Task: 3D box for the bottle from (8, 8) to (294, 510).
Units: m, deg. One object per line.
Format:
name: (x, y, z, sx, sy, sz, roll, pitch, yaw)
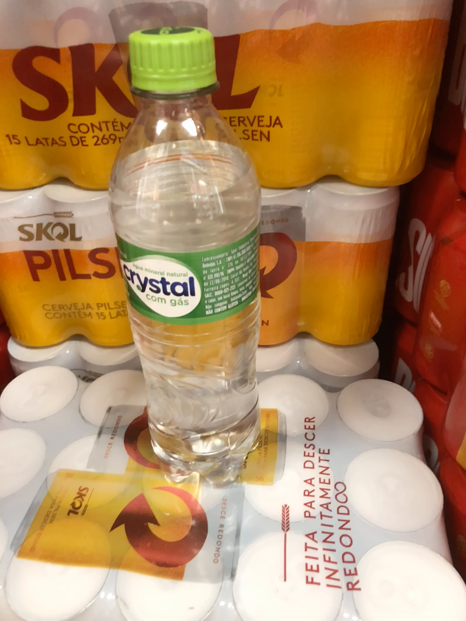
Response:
bottle: (-0.017, -0.006, 0.233, 0.070, 0.218, 0.060, 14, 43, 21)
